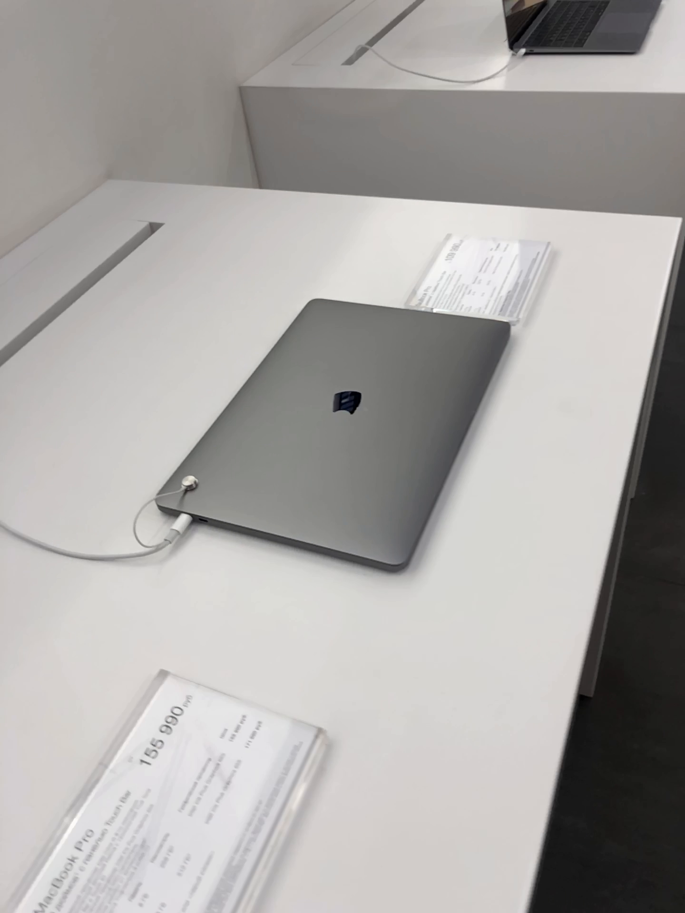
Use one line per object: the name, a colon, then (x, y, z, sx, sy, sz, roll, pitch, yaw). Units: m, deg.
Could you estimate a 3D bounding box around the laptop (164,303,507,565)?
laptop: (0.007, -0.042, 0.651, 0.198, 0.001, 0.294, 12, 47, 21)
